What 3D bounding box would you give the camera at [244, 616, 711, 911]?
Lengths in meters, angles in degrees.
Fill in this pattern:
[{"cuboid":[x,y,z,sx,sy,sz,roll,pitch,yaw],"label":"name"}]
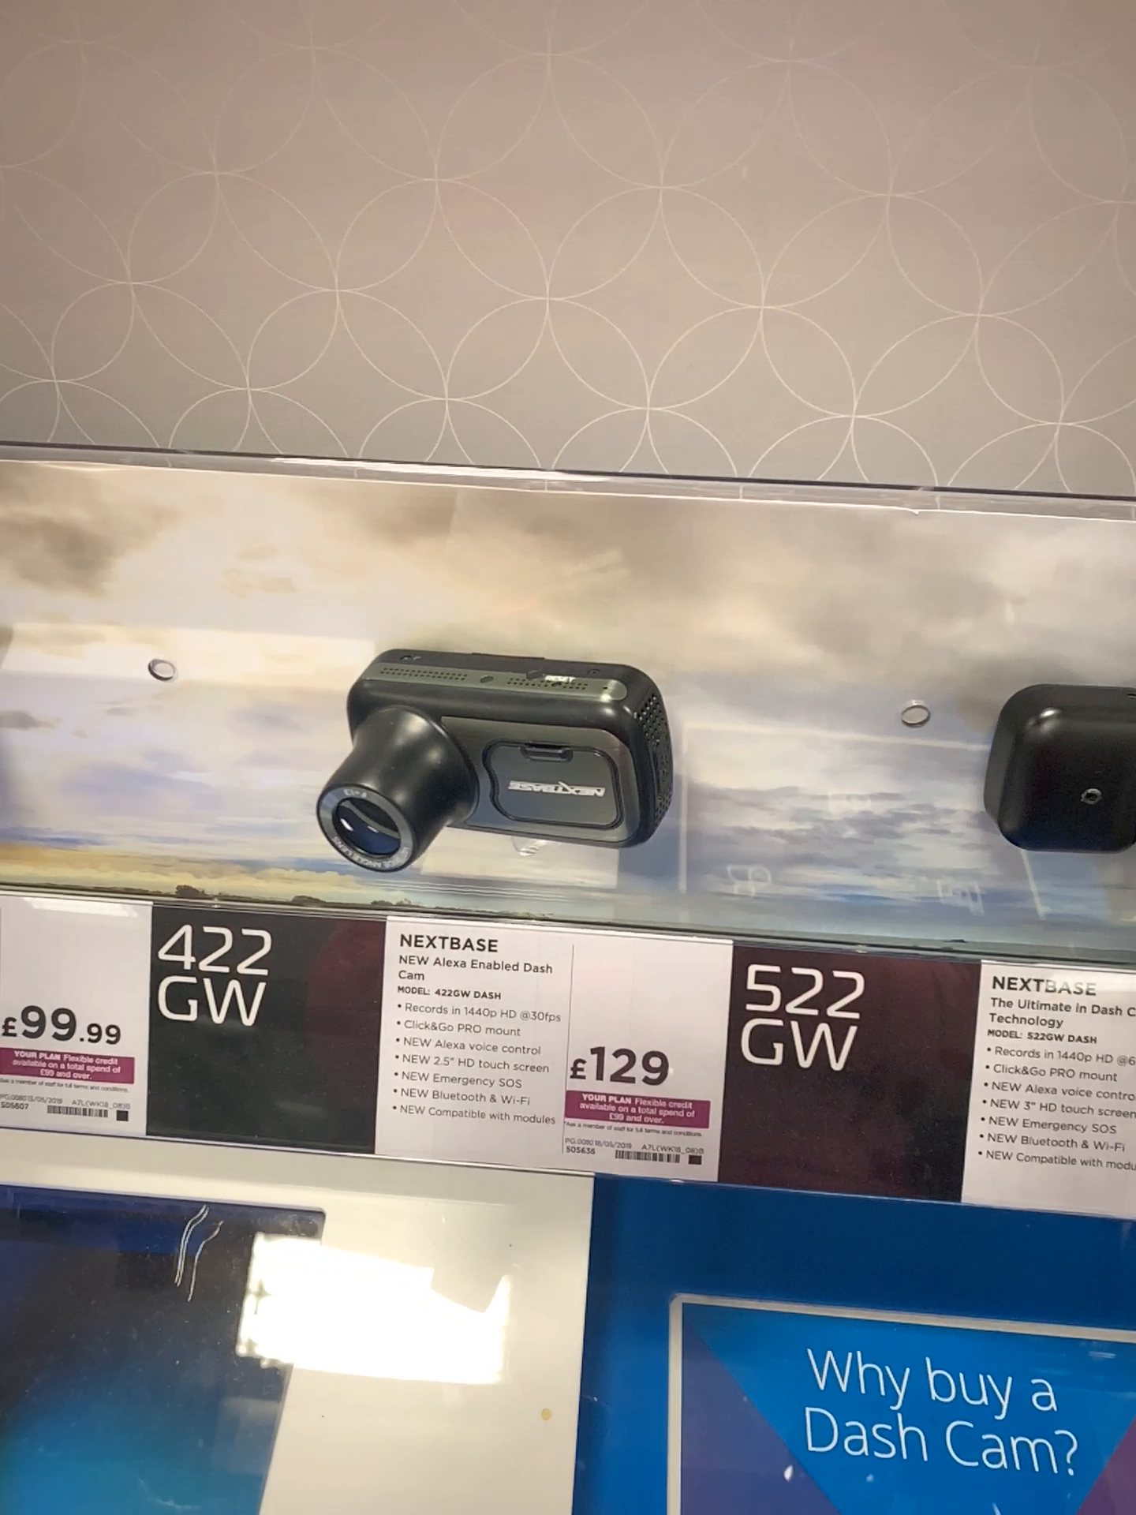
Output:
[{"cuboid":[-0.019,-0.002,0.273,0.090,0.040,0.050,5,35,23],"label":"camera"}]
